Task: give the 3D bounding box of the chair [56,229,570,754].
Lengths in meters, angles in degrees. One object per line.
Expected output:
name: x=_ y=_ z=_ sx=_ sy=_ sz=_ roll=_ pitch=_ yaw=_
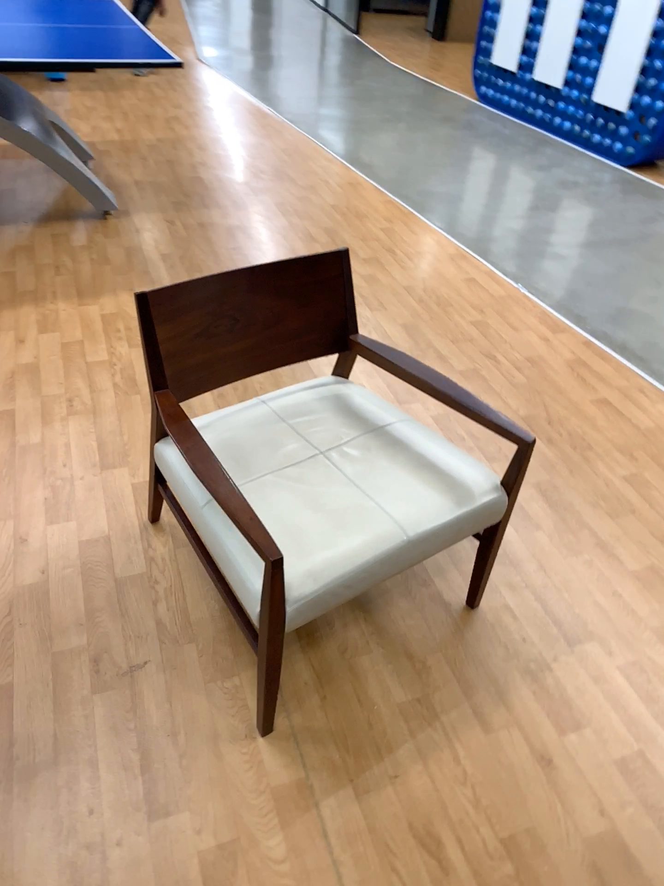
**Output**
chair: x=-0.079 y=0.031 z=1.453 sx=0.672 sy=0.635 sz=0.714 roll=-21 pitch=46 yaw=-29
